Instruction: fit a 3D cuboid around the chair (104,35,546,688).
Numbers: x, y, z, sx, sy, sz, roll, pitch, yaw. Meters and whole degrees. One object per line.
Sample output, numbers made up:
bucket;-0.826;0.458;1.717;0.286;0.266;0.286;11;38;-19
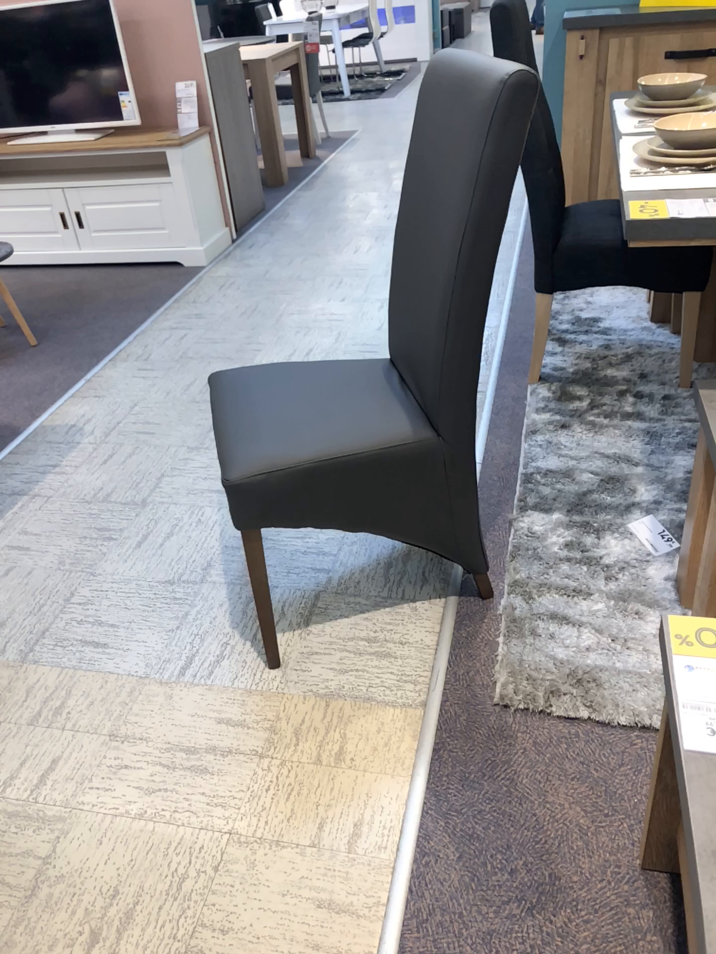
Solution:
chair;-0.046;-0.214;1.471;0.570;1.014;0.523;-11;32;-8
